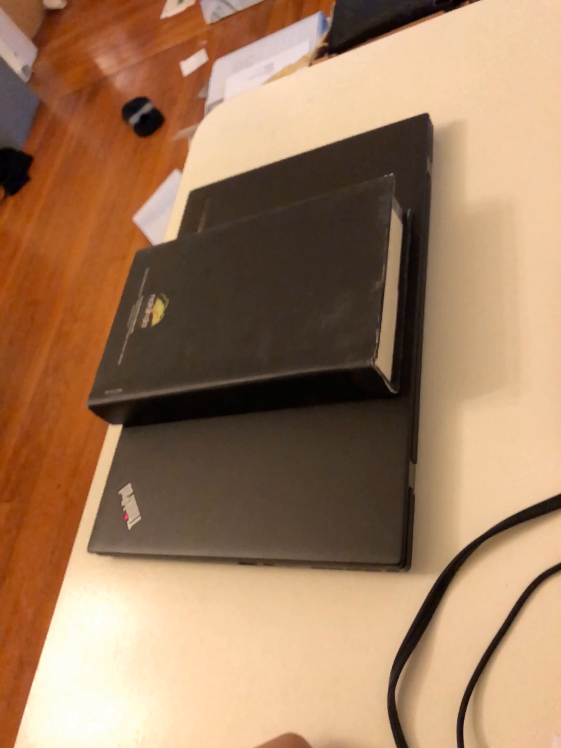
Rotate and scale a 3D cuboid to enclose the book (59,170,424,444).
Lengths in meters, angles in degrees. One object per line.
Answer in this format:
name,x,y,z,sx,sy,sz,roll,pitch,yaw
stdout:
book,-0.028,-0.037,0.413,0.230,0.040,0.150,-7,58,29
